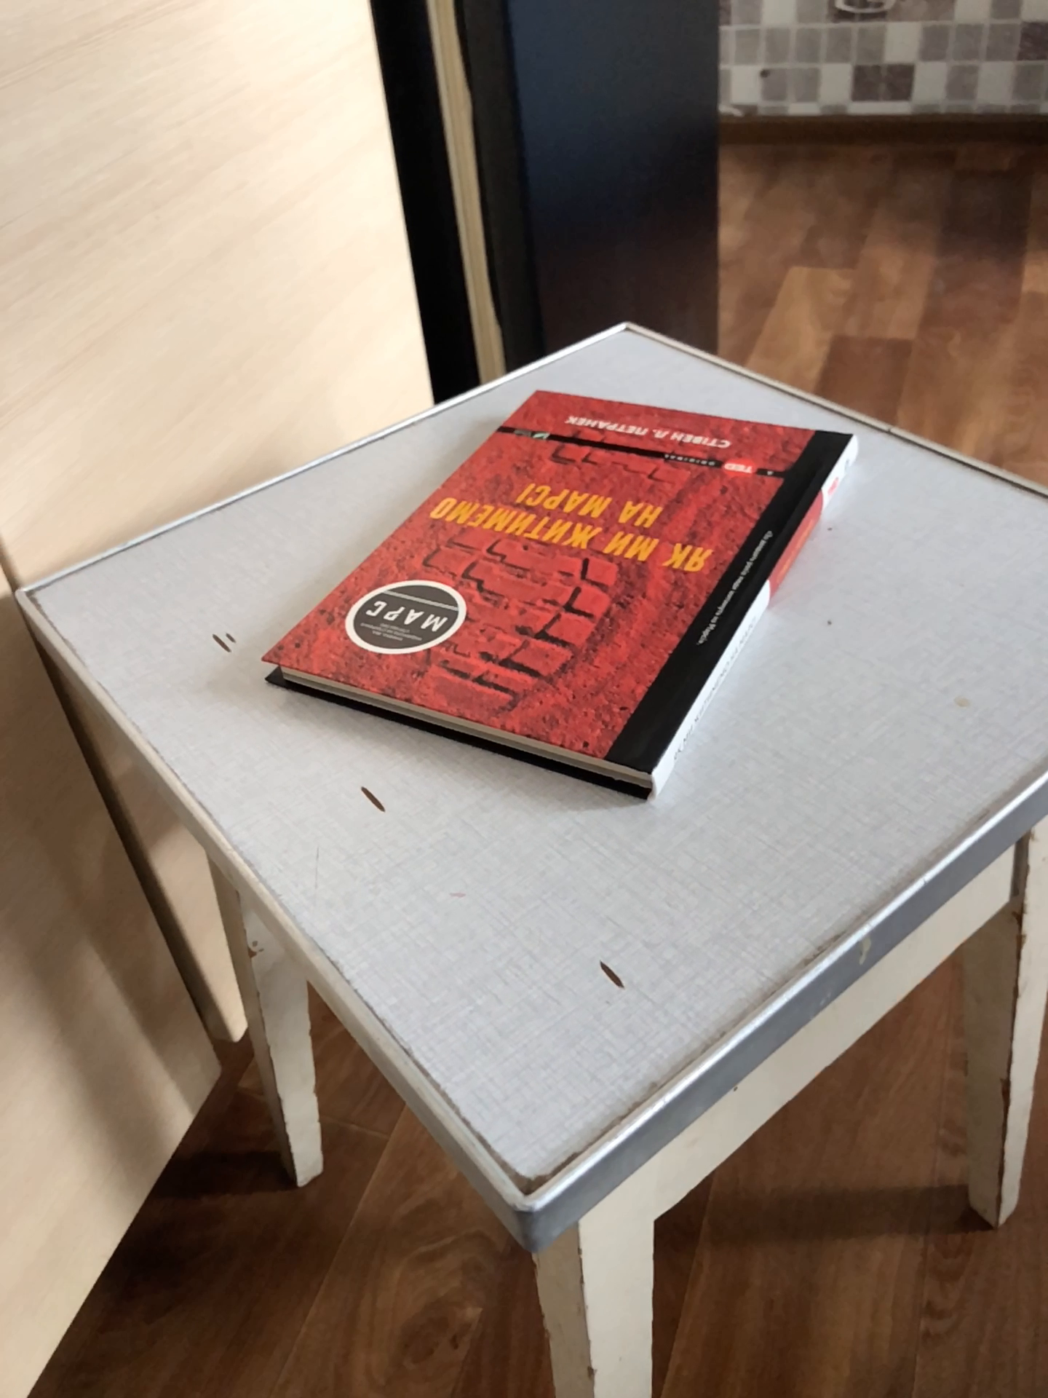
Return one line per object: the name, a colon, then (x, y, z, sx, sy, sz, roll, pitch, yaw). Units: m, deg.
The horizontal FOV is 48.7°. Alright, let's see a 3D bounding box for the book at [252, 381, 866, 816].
book: (0.024, -0.055, 0.428, 0.146, 0.015, 0.214, 15, 45, 24)
